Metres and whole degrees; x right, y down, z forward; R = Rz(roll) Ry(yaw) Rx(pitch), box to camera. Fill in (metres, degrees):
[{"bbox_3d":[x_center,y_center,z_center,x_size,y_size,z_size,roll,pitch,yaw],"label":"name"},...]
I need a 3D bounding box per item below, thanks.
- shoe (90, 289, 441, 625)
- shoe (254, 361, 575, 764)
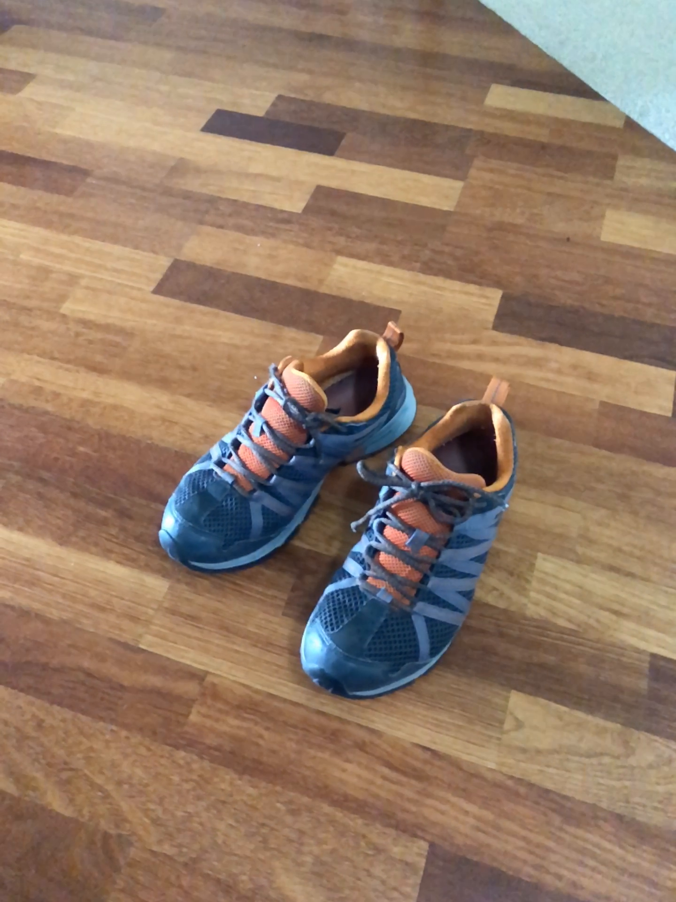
[{"bbox_3d":[-0.051,-0.003,0.652,0.282,0.117,0.113,-39,62,-24],"label":"shoe"},{"bbox_3d":[0.068,0.079,0.596,0.119,0.117,0.279,27,59,19],"label":"shoe"}]
